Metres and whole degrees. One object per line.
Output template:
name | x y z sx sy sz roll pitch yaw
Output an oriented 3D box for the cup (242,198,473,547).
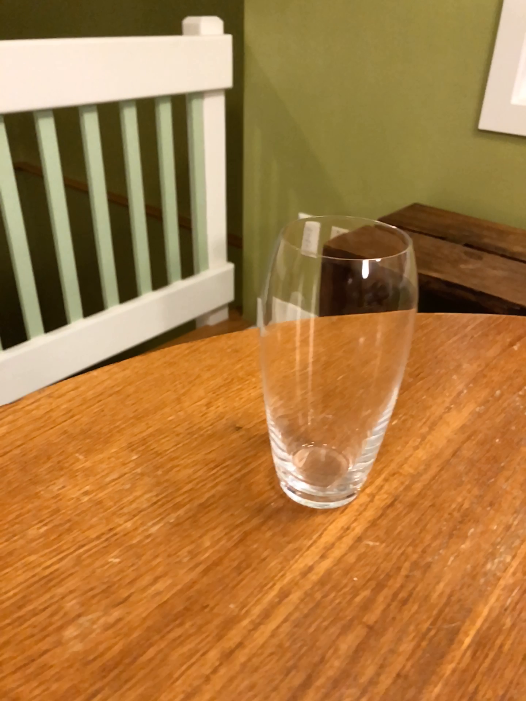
cup | 0.046 0.009 0.324 0.082 0.156 0.081 1 30 -1
